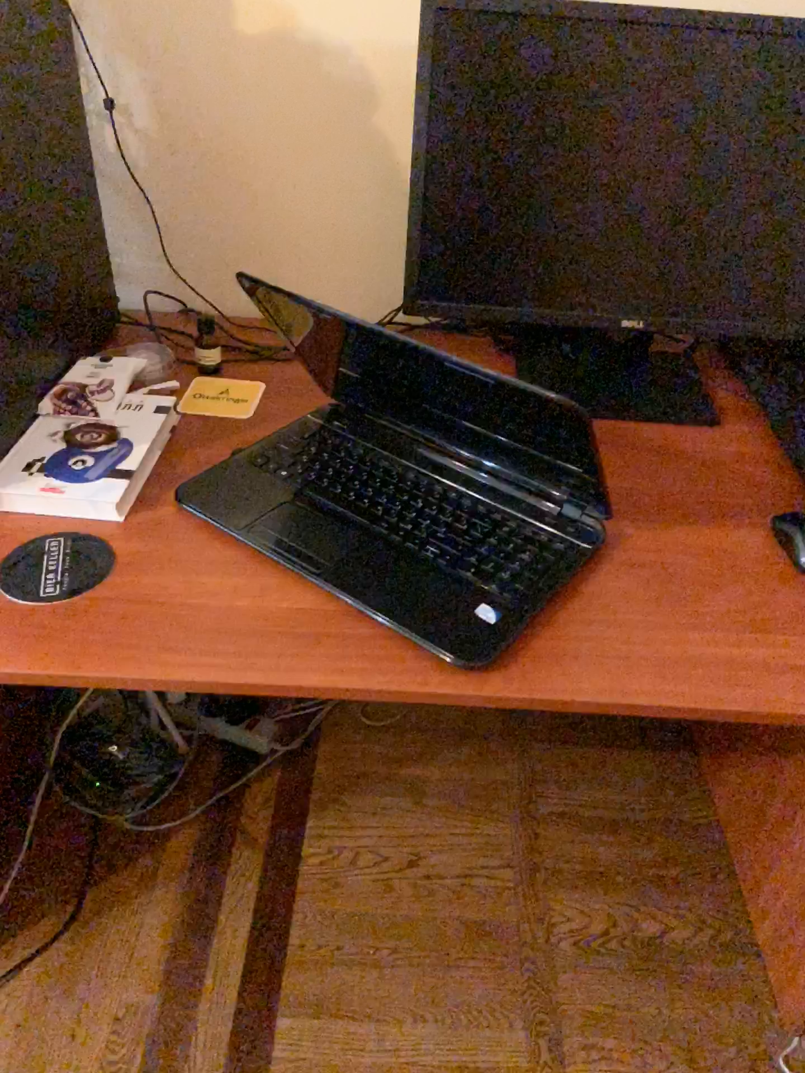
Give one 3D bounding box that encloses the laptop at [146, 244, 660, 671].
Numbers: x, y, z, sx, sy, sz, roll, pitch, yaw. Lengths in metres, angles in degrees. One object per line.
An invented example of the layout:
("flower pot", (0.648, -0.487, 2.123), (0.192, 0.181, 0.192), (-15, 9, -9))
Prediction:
("laptop", (-0.007, -0.101, 0.759), (0.370, 0.194, 0.245), (27, 44, 27))
